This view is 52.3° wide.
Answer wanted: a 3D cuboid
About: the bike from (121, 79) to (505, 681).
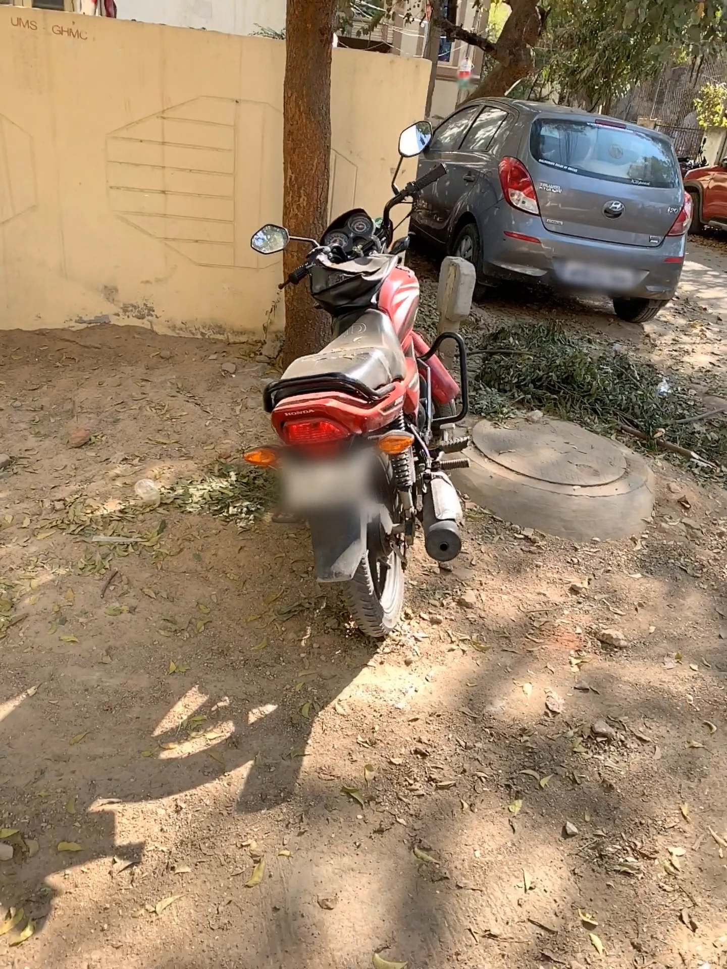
[{"bbox_3d":[-0.183,-0.515,2.432,0.775,1.179,1.650,5,32,-3],"label":"bike"}]
